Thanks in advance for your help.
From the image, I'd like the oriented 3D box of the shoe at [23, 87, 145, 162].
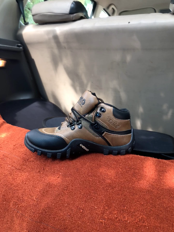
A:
[{"bbox_3d":[-0.012,0.010,0.489,0.270,0.149,0.110,-2,15,-13],"label":"shoe"}]
